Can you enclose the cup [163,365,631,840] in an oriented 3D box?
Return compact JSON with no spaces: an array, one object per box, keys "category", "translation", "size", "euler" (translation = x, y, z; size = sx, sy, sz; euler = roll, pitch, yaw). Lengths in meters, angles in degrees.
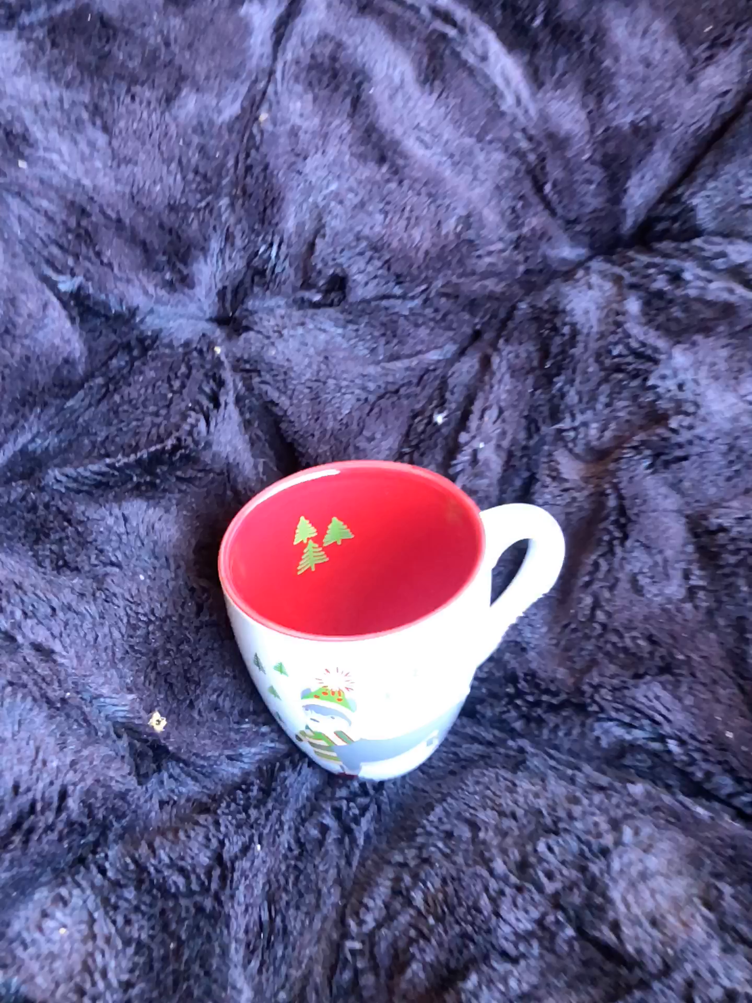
[{"category":"cup","translation":[0.008,0.036,0.345],"size":[0.140,0.110,0.100],"euler":[-24,46,-20]}]
